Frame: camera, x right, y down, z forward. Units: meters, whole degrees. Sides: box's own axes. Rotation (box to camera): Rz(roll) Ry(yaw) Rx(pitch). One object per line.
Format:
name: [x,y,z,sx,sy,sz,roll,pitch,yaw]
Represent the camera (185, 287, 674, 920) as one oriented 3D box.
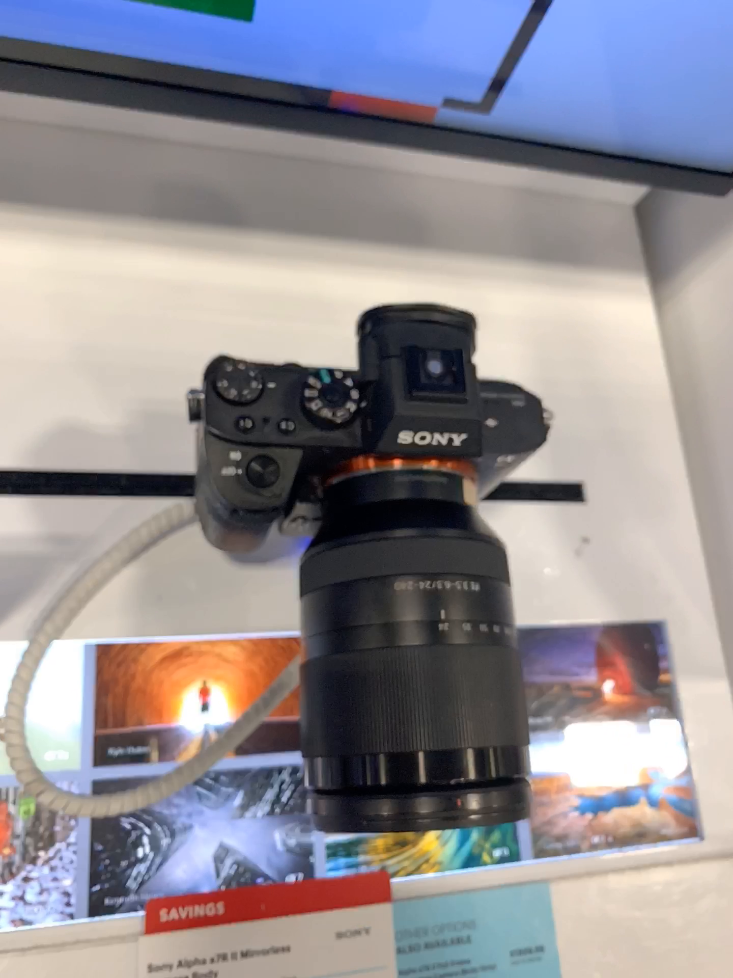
camera: [0.005,0.035,0.273,0.130,0.100,0.172,0,73,-15]
